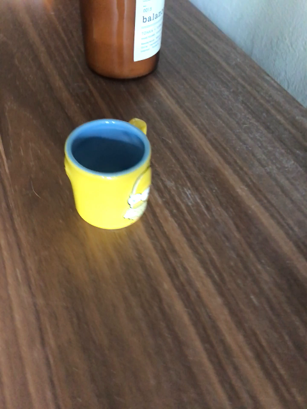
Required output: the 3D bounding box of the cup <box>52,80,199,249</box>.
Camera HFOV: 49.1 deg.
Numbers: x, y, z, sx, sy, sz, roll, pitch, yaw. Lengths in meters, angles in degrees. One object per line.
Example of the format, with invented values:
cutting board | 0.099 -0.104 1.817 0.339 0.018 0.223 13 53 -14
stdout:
cup | -0.015 -0.030 0.238 0.060 0.060 0.091 21 53 11
